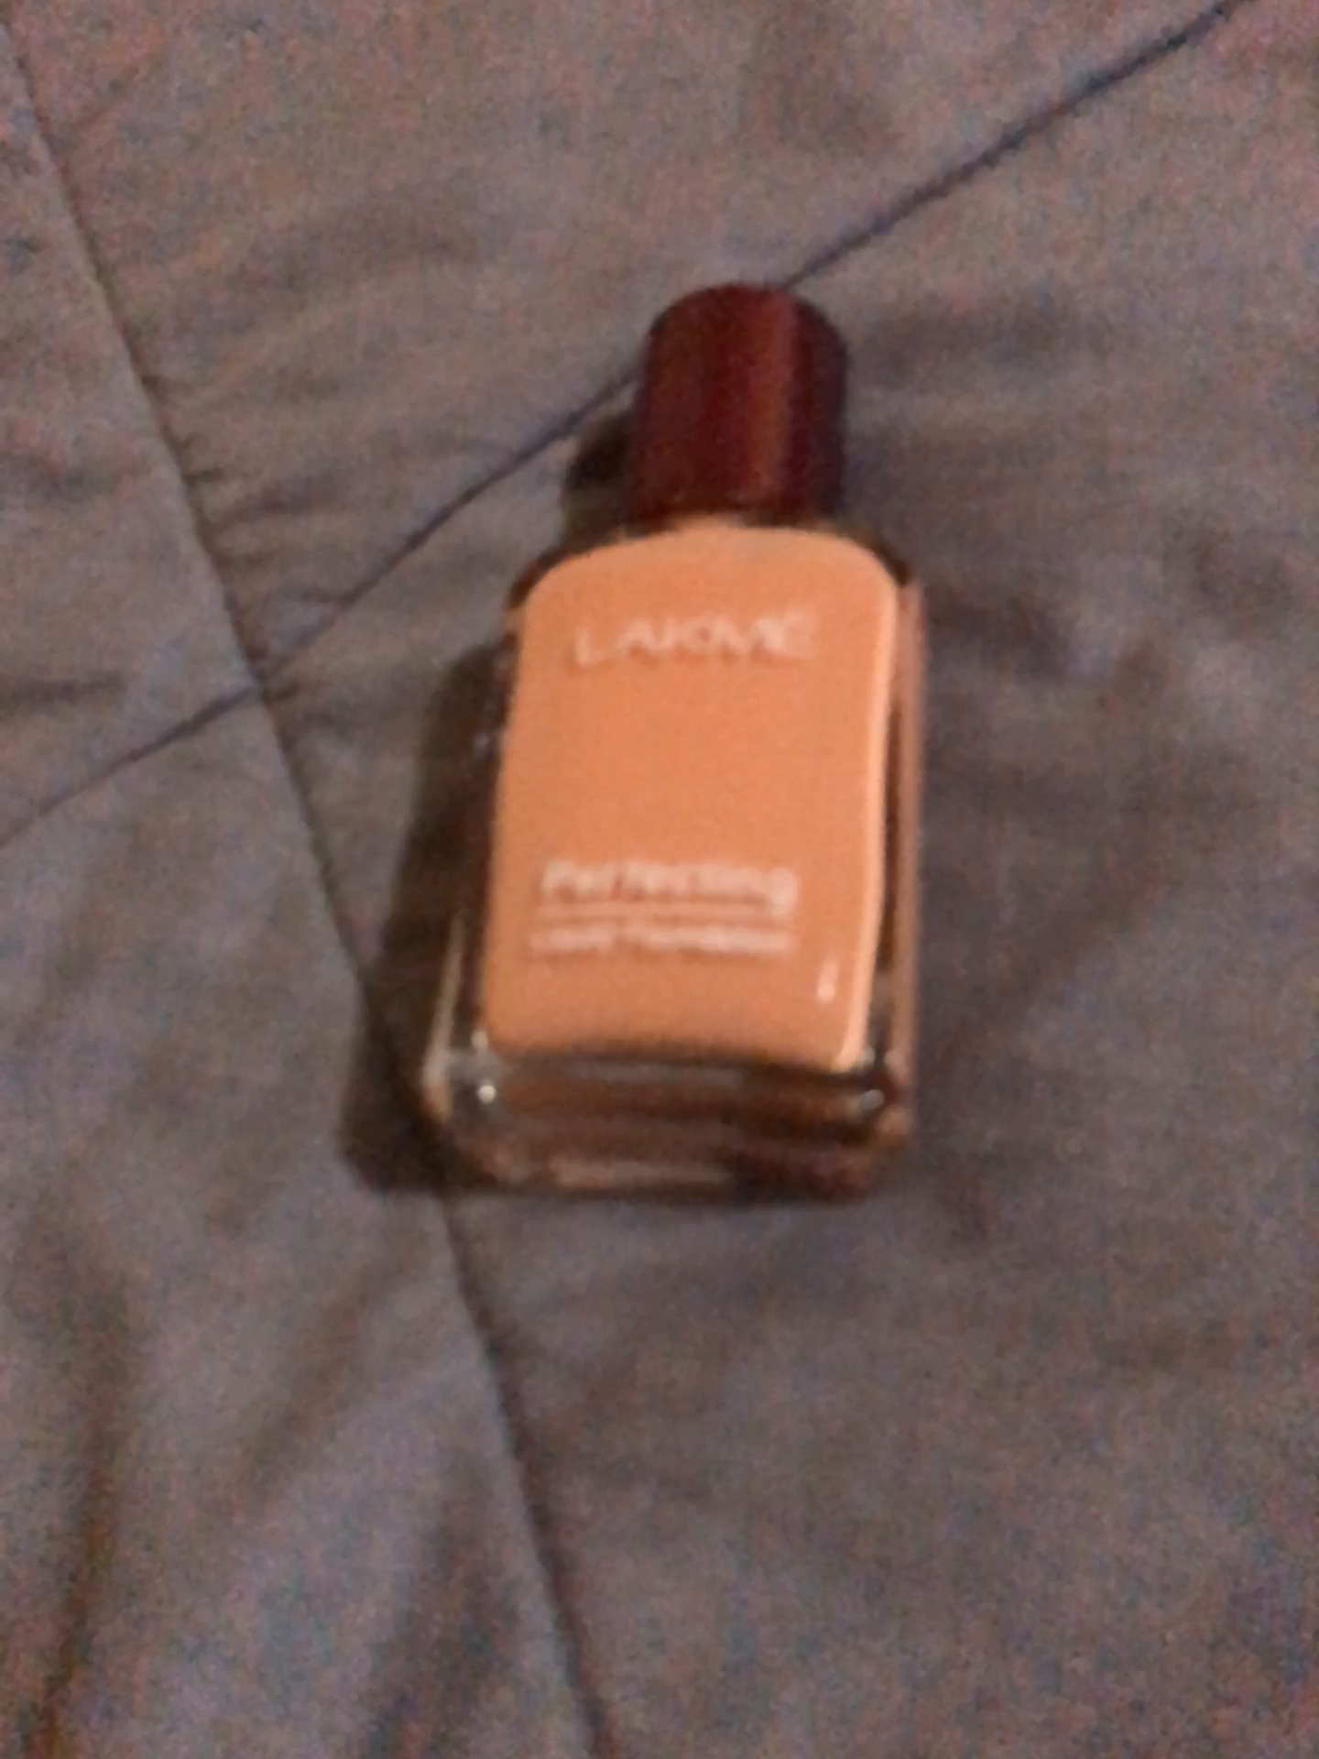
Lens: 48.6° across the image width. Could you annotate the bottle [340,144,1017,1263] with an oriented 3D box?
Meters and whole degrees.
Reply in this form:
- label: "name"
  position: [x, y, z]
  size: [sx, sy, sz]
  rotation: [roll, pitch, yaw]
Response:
- label: "bottle"
  position: [0.009, -0.022, 0.147]
  size: [0.050, 0.030, 0.110]
  rotation: [1, 62, 13]
